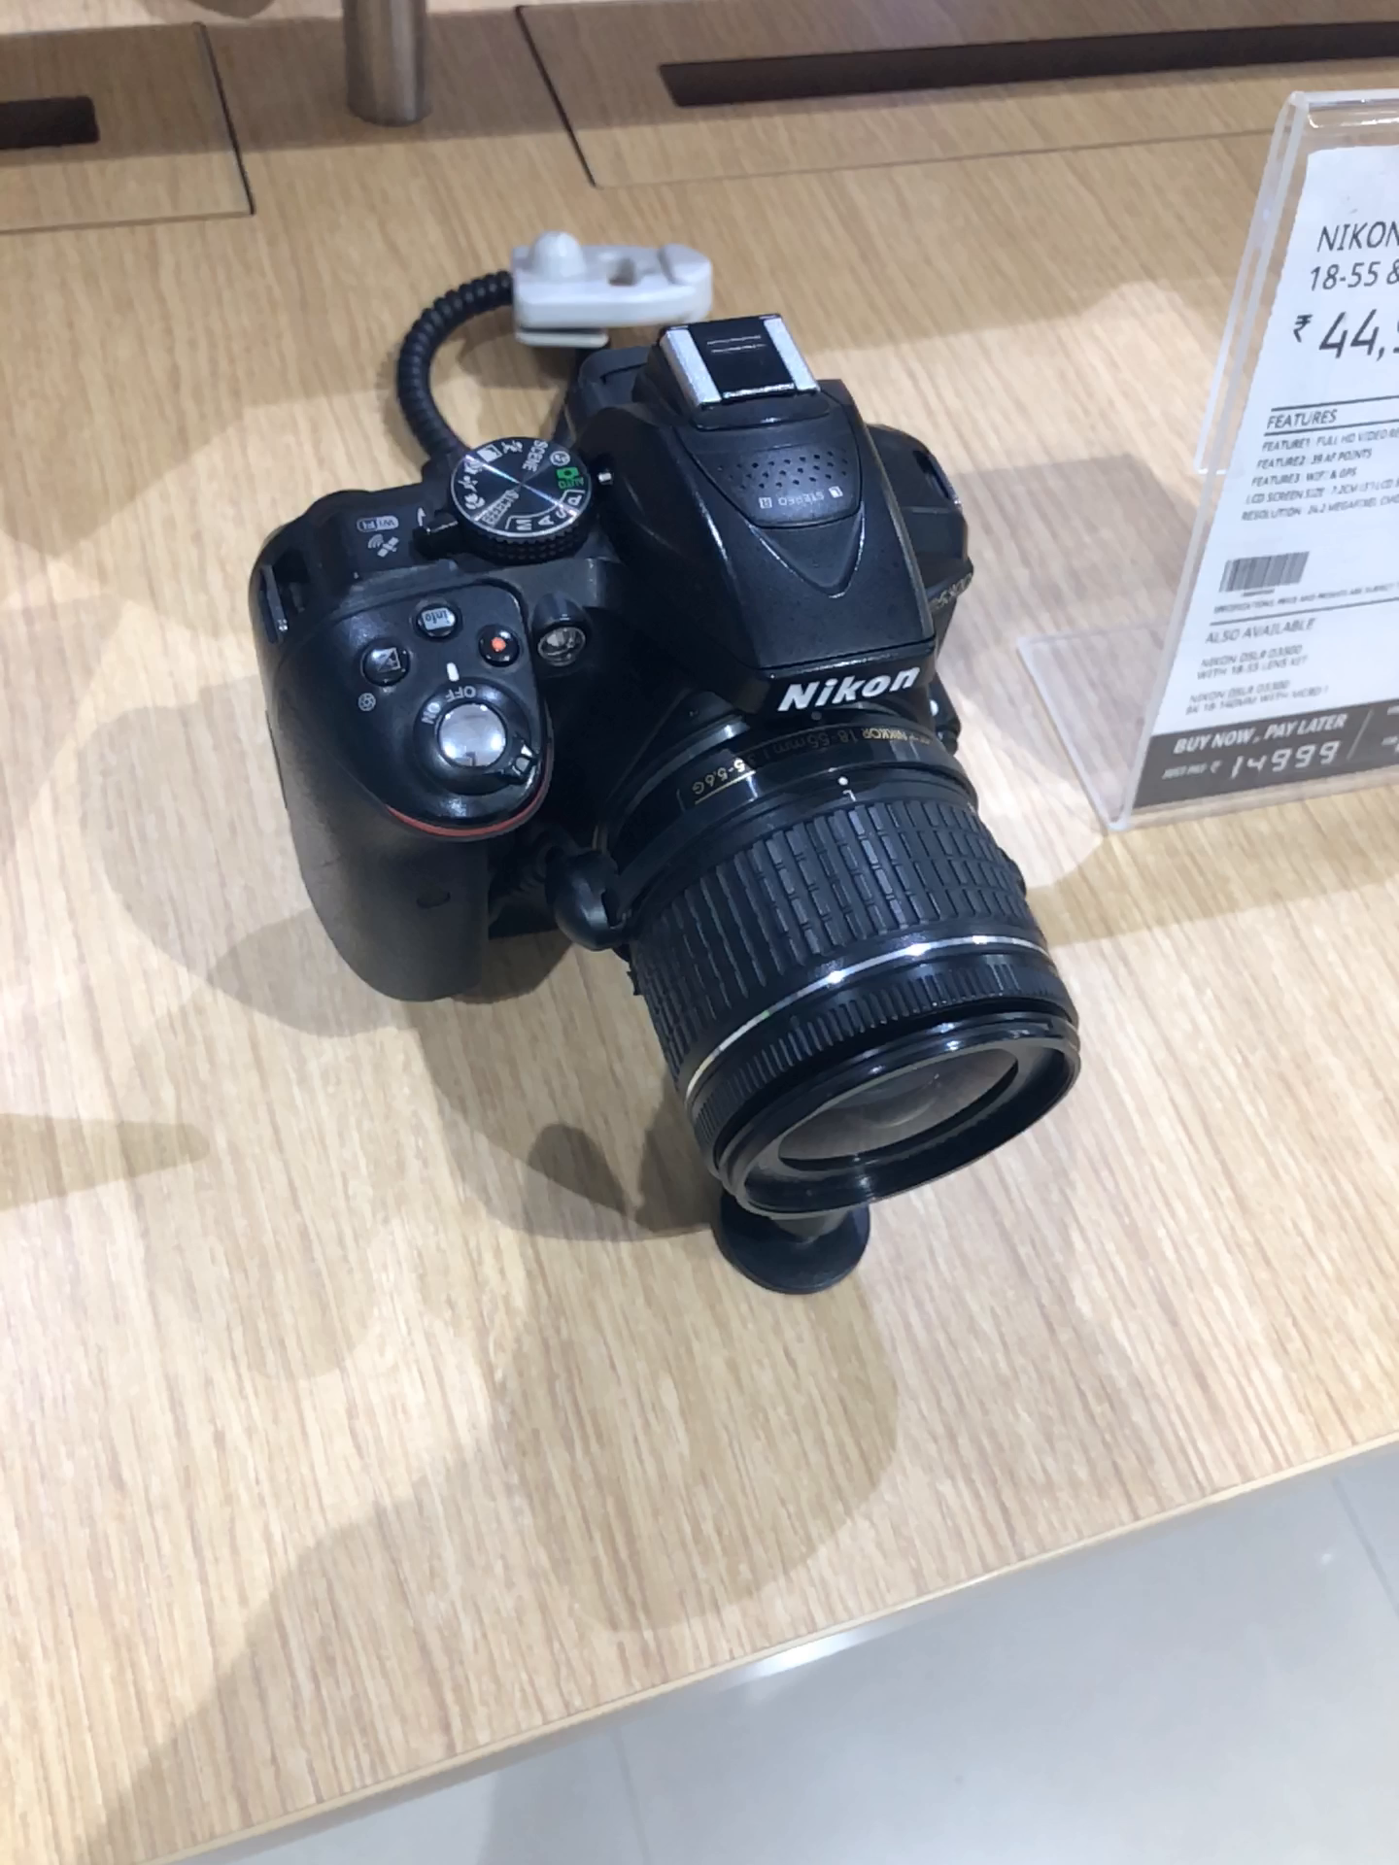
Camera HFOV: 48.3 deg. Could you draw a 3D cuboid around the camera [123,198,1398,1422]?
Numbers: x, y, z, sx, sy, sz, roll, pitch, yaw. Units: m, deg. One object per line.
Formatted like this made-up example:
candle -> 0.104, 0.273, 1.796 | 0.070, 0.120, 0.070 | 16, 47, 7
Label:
camera -> -0.002, -0.027, 0.235 | 0.130, 0.070, 0.150 | -12, 61, -15
